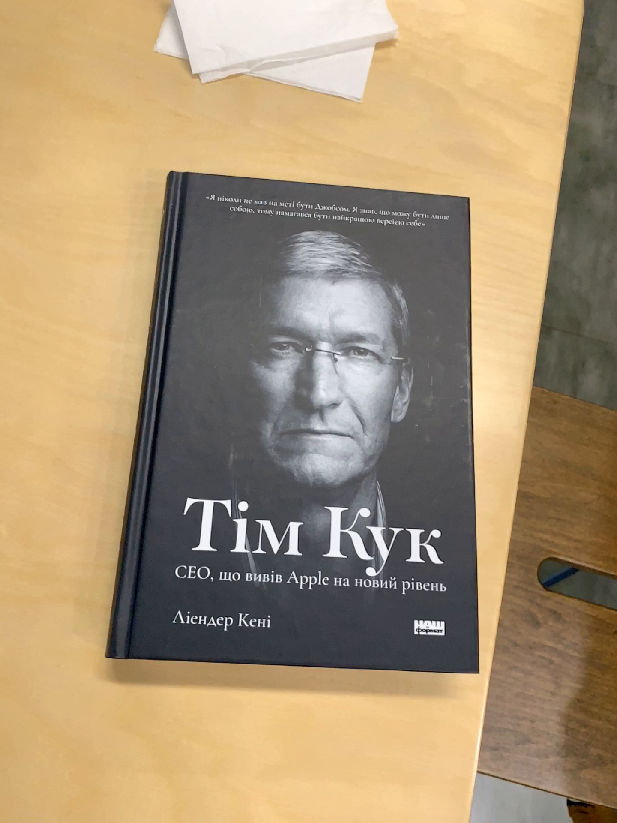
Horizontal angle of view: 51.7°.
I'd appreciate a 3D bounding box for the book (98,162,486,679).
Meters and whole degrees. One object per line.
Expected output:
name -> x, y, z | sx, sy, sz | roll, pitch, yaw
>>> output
book -> 0.000, -0.003, 0.285 | 0.144, 0.034, 0.217 | 4, 73, -3
